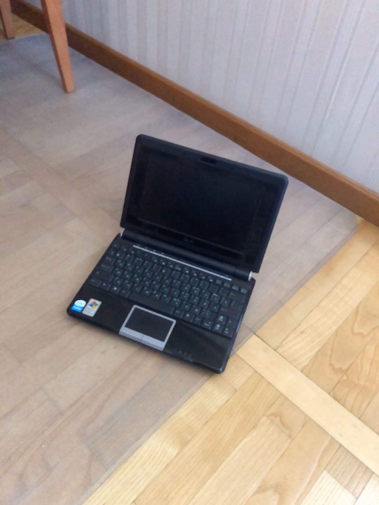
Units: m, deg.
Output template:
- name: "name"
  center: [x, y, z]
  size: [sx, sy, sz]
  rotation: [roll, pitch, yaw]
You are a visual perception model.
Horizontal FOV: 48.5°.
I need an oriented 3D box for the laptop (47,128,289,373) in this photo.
- name: "laptop"
  center: [-0.020, -0.018, 0.666]
  size: [0.263, 0.159, 0.278]
  rotation: [19, 51, 10]
